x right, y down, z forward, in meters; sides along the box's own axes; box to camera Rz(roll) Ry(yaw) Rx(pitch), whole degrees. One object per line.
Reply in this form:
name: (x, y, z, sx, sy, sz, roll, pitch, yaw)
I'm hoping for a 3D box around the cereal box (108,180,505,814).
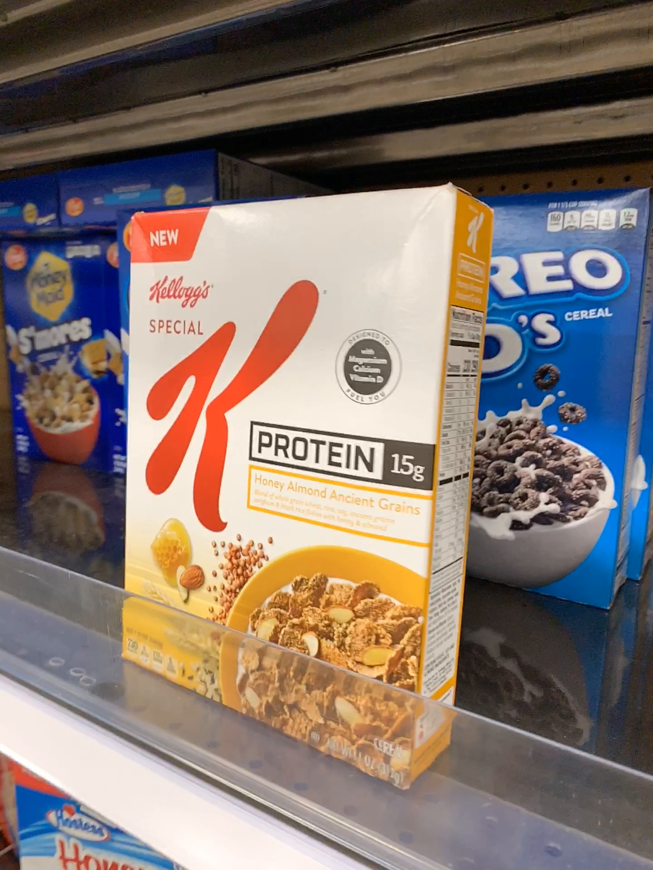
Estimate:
cereal box: (-0.026, 0.017, 0.336, 0.200, 0.250, 0.040, 8, 7, 35)
